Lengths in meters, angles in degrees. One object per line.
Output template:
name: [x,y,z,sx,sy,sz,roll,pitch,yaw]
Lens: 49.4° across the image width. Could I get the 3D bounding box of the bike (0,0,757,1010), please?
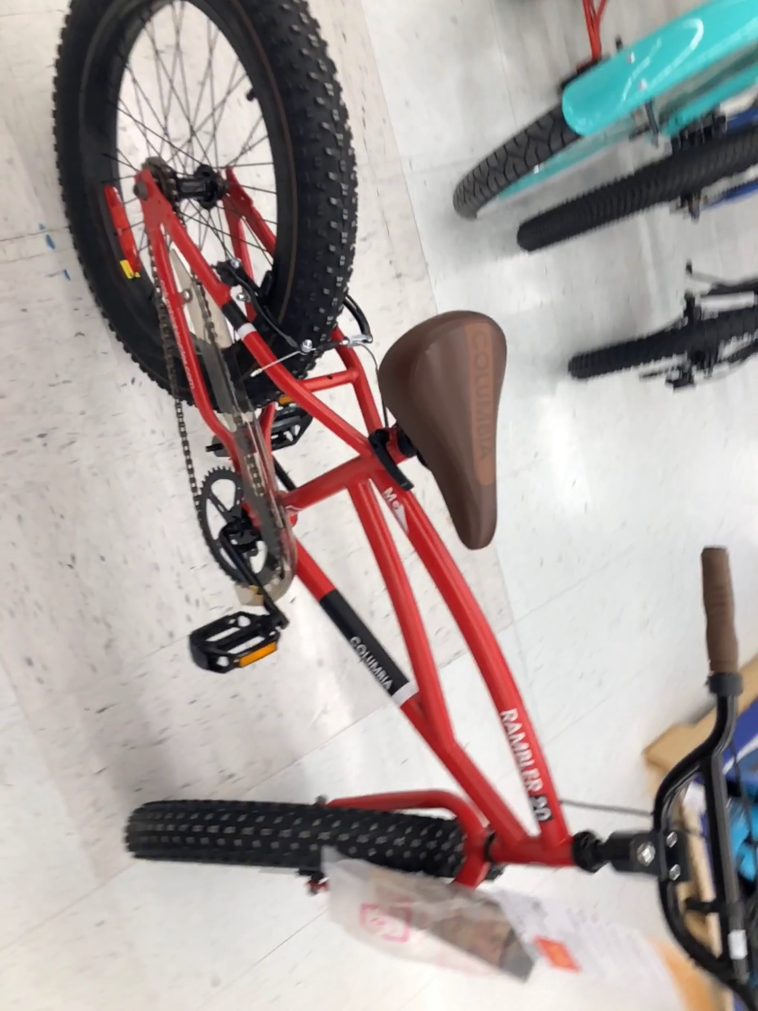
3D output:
bike: [-0.018,0.000,0.995,0.609,0.969,1.358,-26,112,-30]
